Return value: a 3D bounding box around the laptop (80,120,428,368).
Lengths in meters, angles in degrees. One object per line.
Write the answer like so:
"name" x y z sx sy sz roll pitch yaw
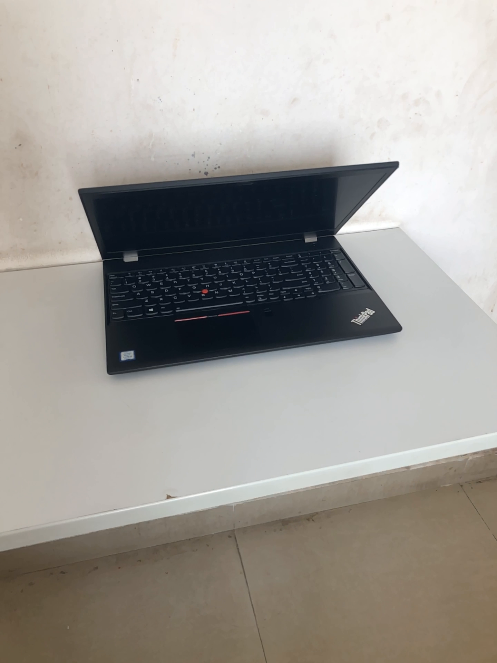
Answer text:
"laptop" -0.013 -0.122 0.672 0.347 0.173 0.235 -8 39 -9
